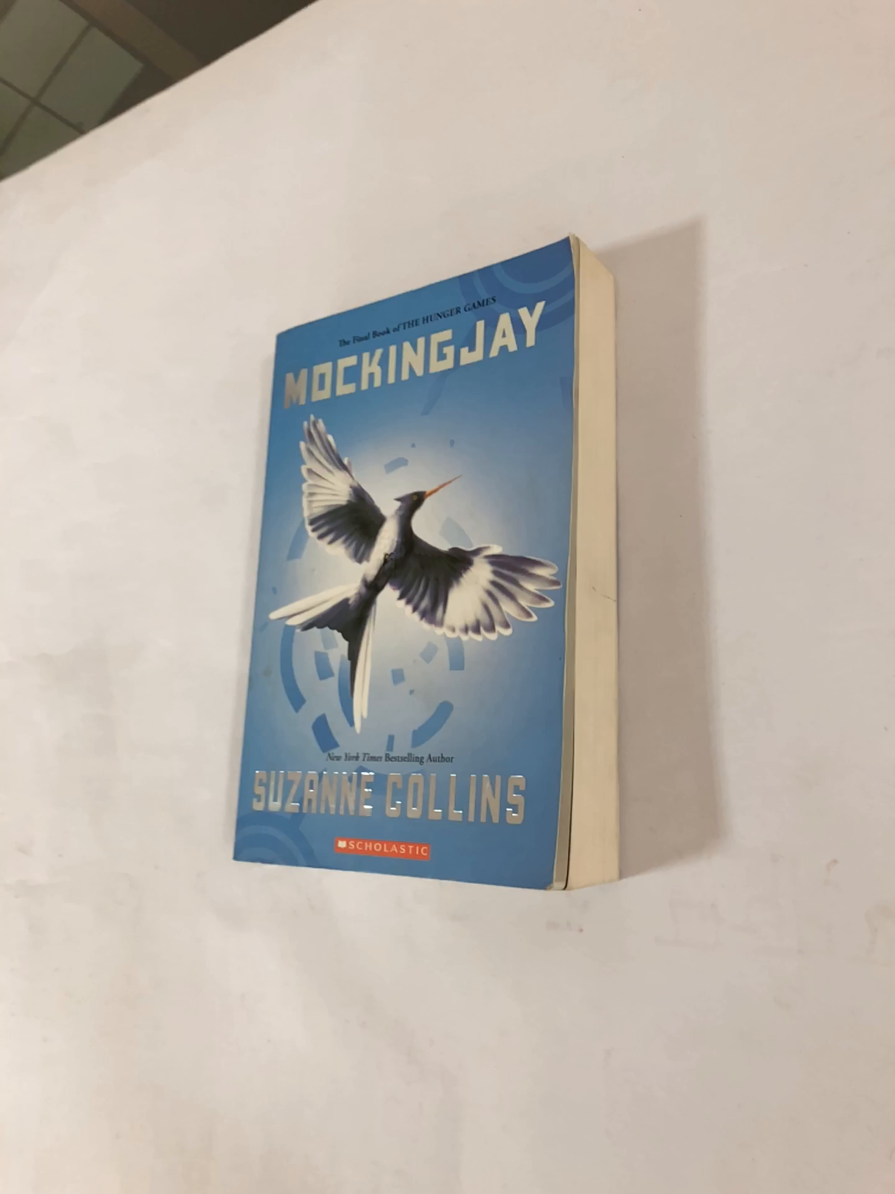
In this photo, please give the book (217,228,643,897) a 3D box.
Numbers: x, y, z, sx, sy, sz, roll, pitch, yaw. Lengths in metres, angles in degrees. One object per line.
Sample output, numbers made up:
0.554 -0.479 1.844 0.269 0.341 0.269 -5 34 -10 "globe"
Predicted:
-0.008 -0.007 0.326 0.139 0.029 0.190 -6 76 33 "book"
